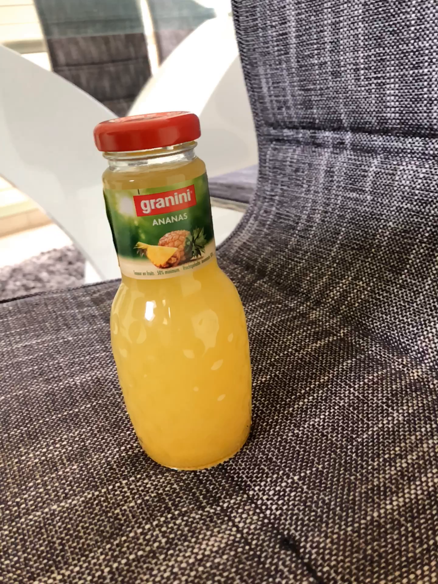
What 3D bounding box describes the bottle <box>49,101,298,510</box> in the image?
[{"bbox_3d":[-0.018,0.001,0.212,0.070,0.149,0.070,-6,23,3],"label":"bottle"}]
